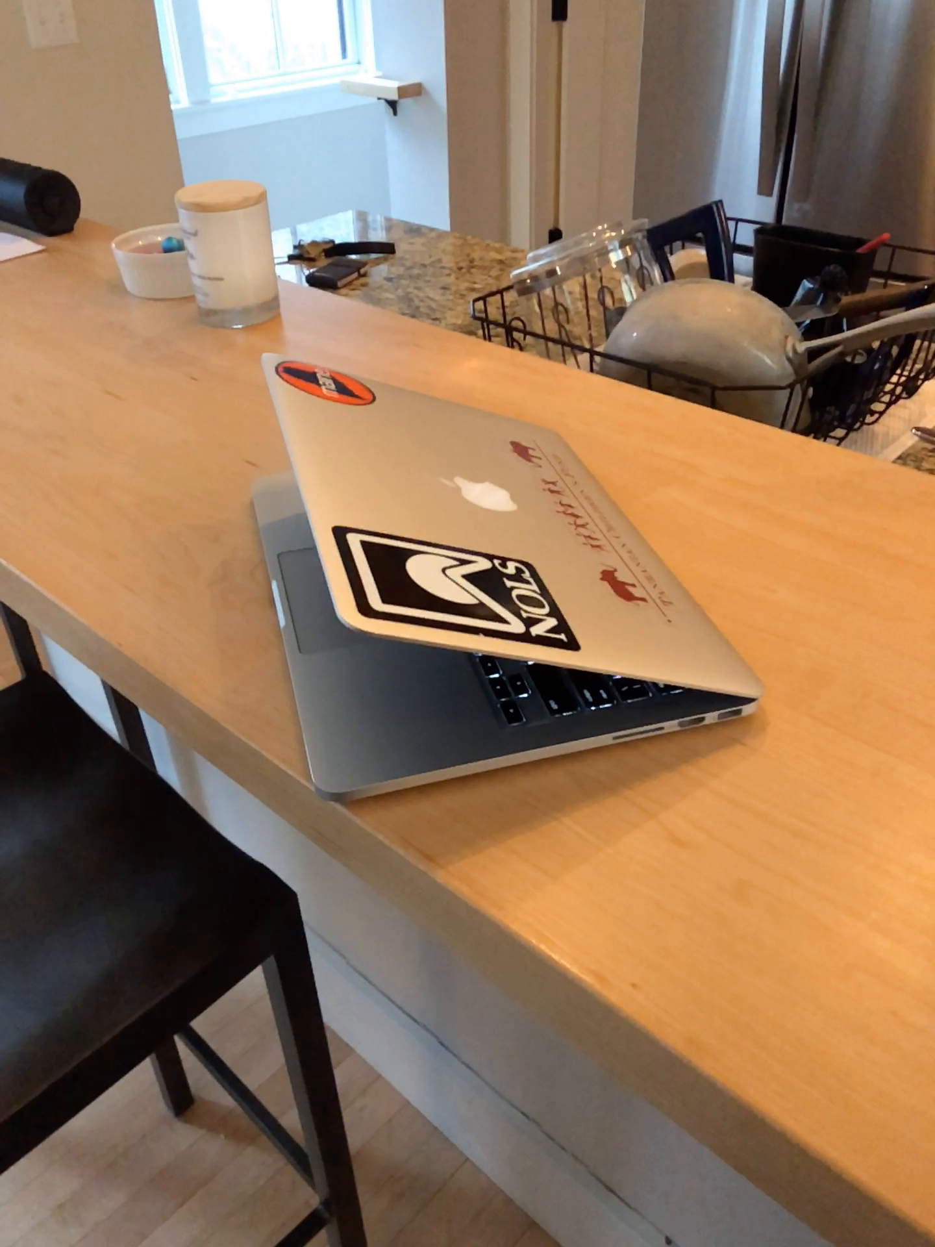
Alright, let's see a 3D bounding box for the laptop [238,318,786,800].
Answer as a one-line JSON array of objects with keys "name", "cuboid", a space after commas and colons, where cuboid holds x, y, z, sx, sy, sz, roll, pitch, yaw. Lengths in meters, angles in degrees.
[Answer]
[{"name": "laptop", "cuboid": [-0.002, -0.062, 0.559, 0.210, 0.084, 0.302, -10, 37, -10]}]
